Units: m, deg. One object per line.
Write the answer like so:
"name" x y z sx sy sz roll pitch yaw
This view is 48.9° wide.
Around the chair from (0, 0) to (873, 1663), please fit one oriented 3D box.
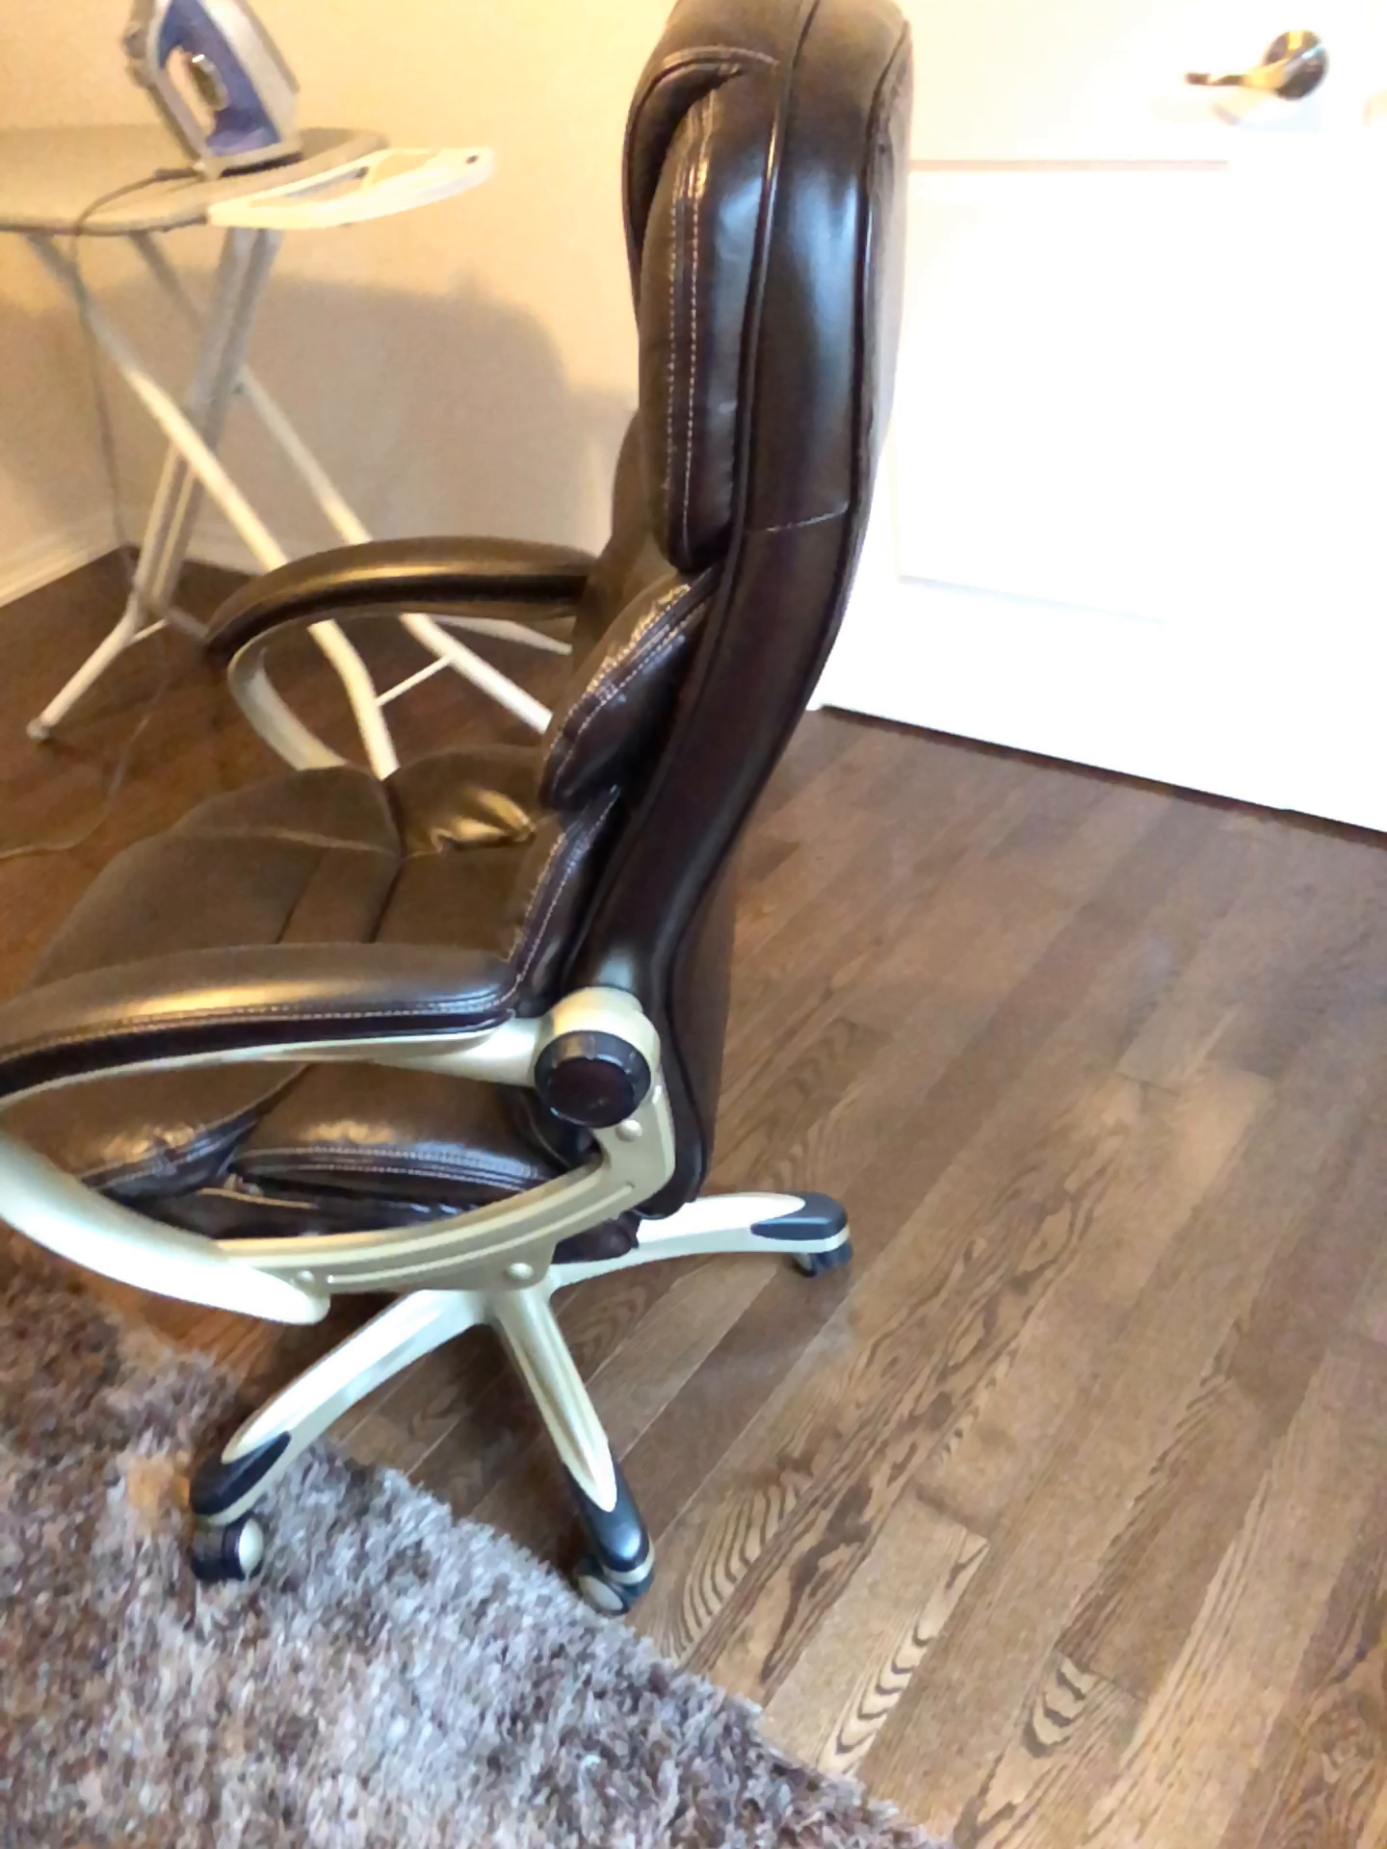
"chair" -0.280 -0.074 1.231 0.740 1.135 0.733 -2 37 11
